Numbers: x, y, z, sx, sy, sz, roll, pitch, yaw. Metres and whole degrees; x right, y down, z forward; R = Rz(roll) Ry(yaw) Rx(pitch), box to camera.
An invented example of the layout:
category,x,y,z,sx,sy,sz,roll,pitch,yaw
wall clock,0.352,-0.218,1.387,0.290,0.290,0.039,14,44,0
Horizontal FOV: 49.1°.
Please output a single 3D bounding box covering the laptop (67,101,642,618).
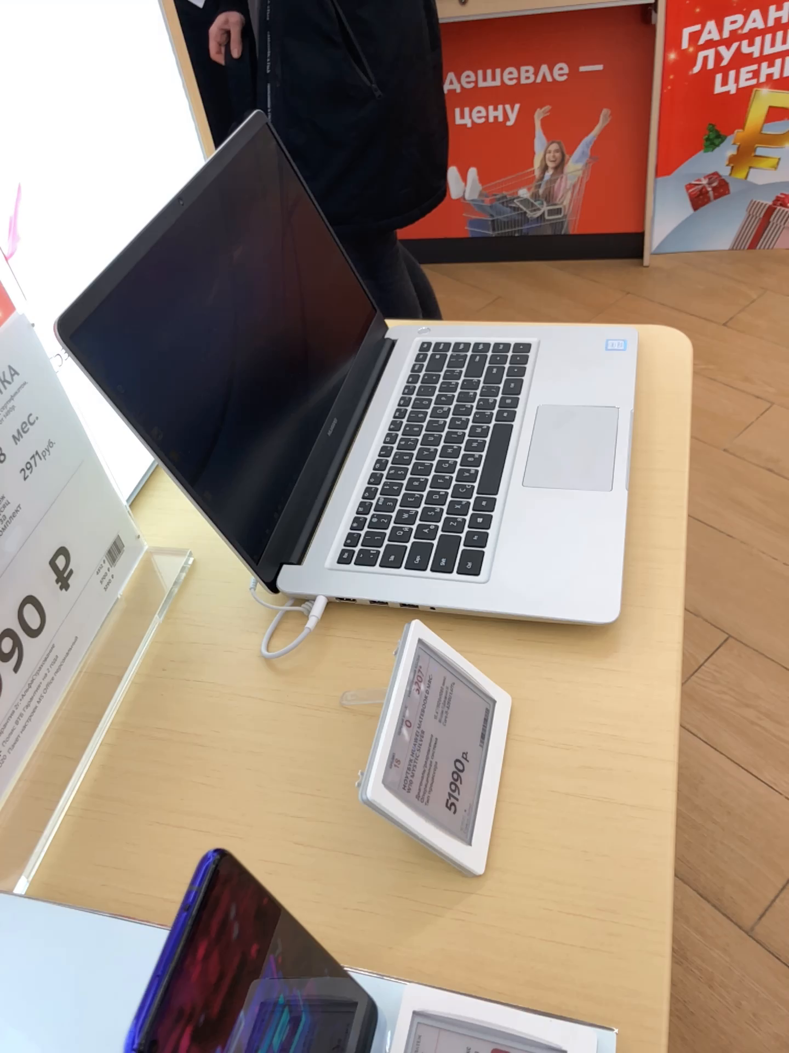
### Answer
category,x,y,z,sx,sy,sz,roll,pitch,yaw
laptop,0.016,-0.139,0.634,0.305,0.204,0.342,3,43,15
